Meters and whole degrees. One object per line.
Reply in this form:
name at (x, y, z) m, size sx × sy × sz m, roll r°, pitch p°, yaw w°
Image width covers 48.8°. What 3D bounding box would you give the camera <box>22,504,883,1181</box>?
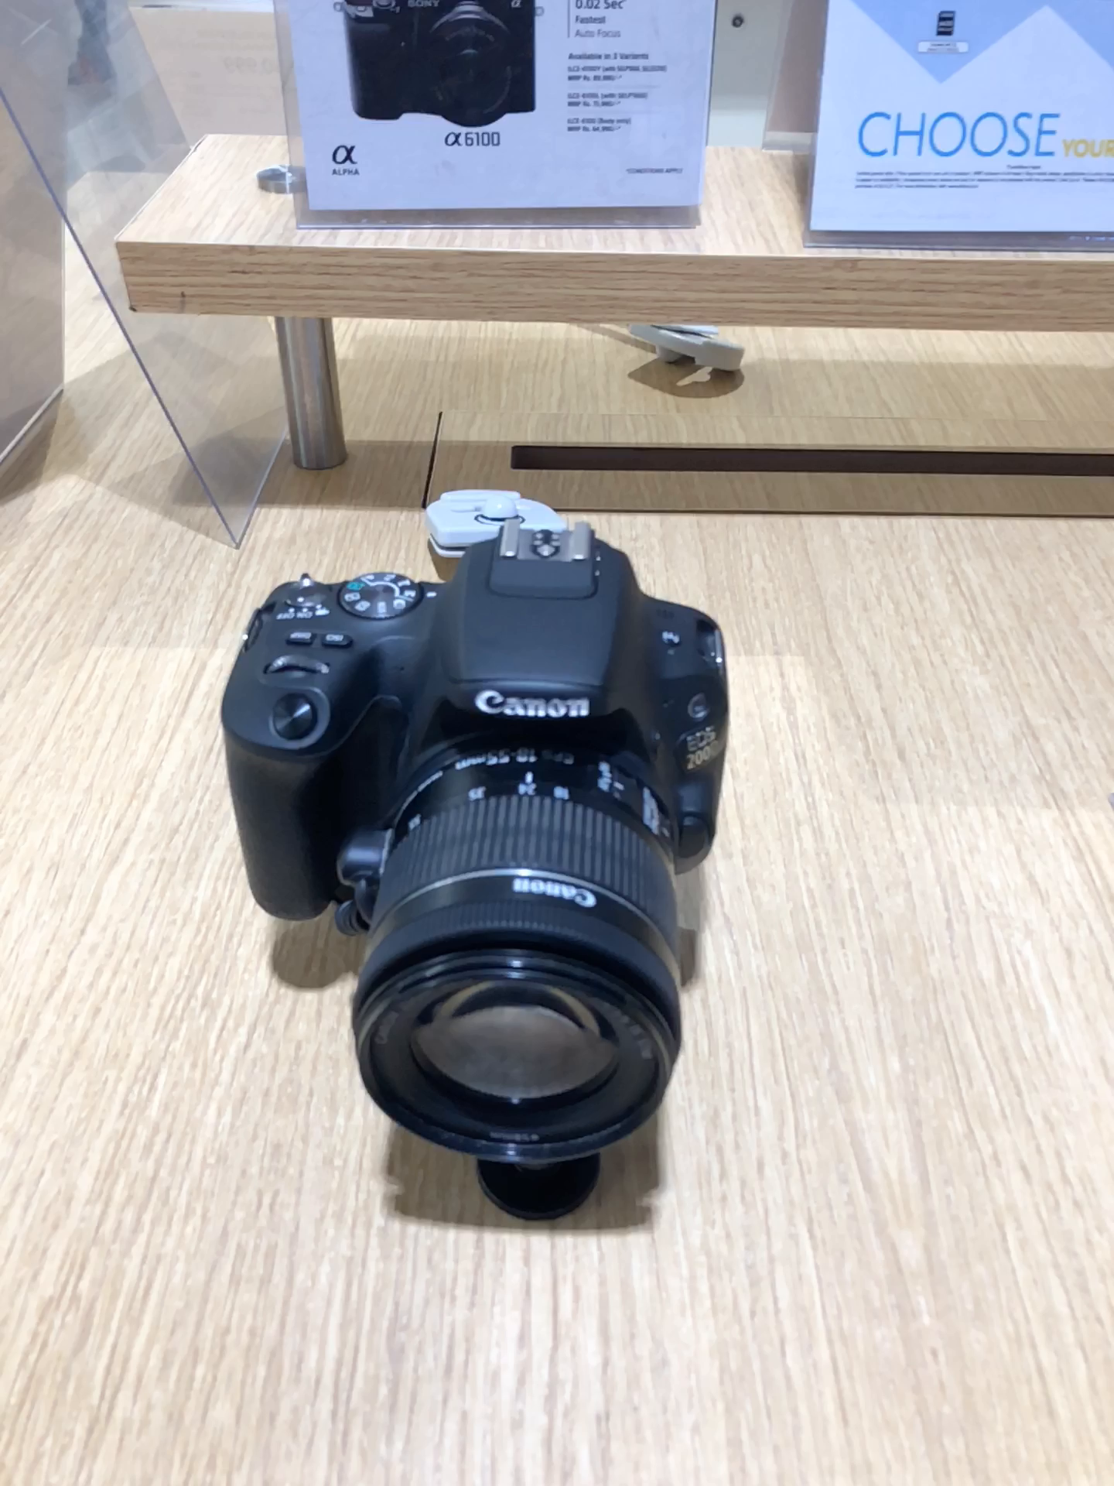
camera at (-0.015, 0.015, 0.255) m, size 0.130 × 0.079 × 0.116 m, roll 1°, pitch 39°, yaw 1°
